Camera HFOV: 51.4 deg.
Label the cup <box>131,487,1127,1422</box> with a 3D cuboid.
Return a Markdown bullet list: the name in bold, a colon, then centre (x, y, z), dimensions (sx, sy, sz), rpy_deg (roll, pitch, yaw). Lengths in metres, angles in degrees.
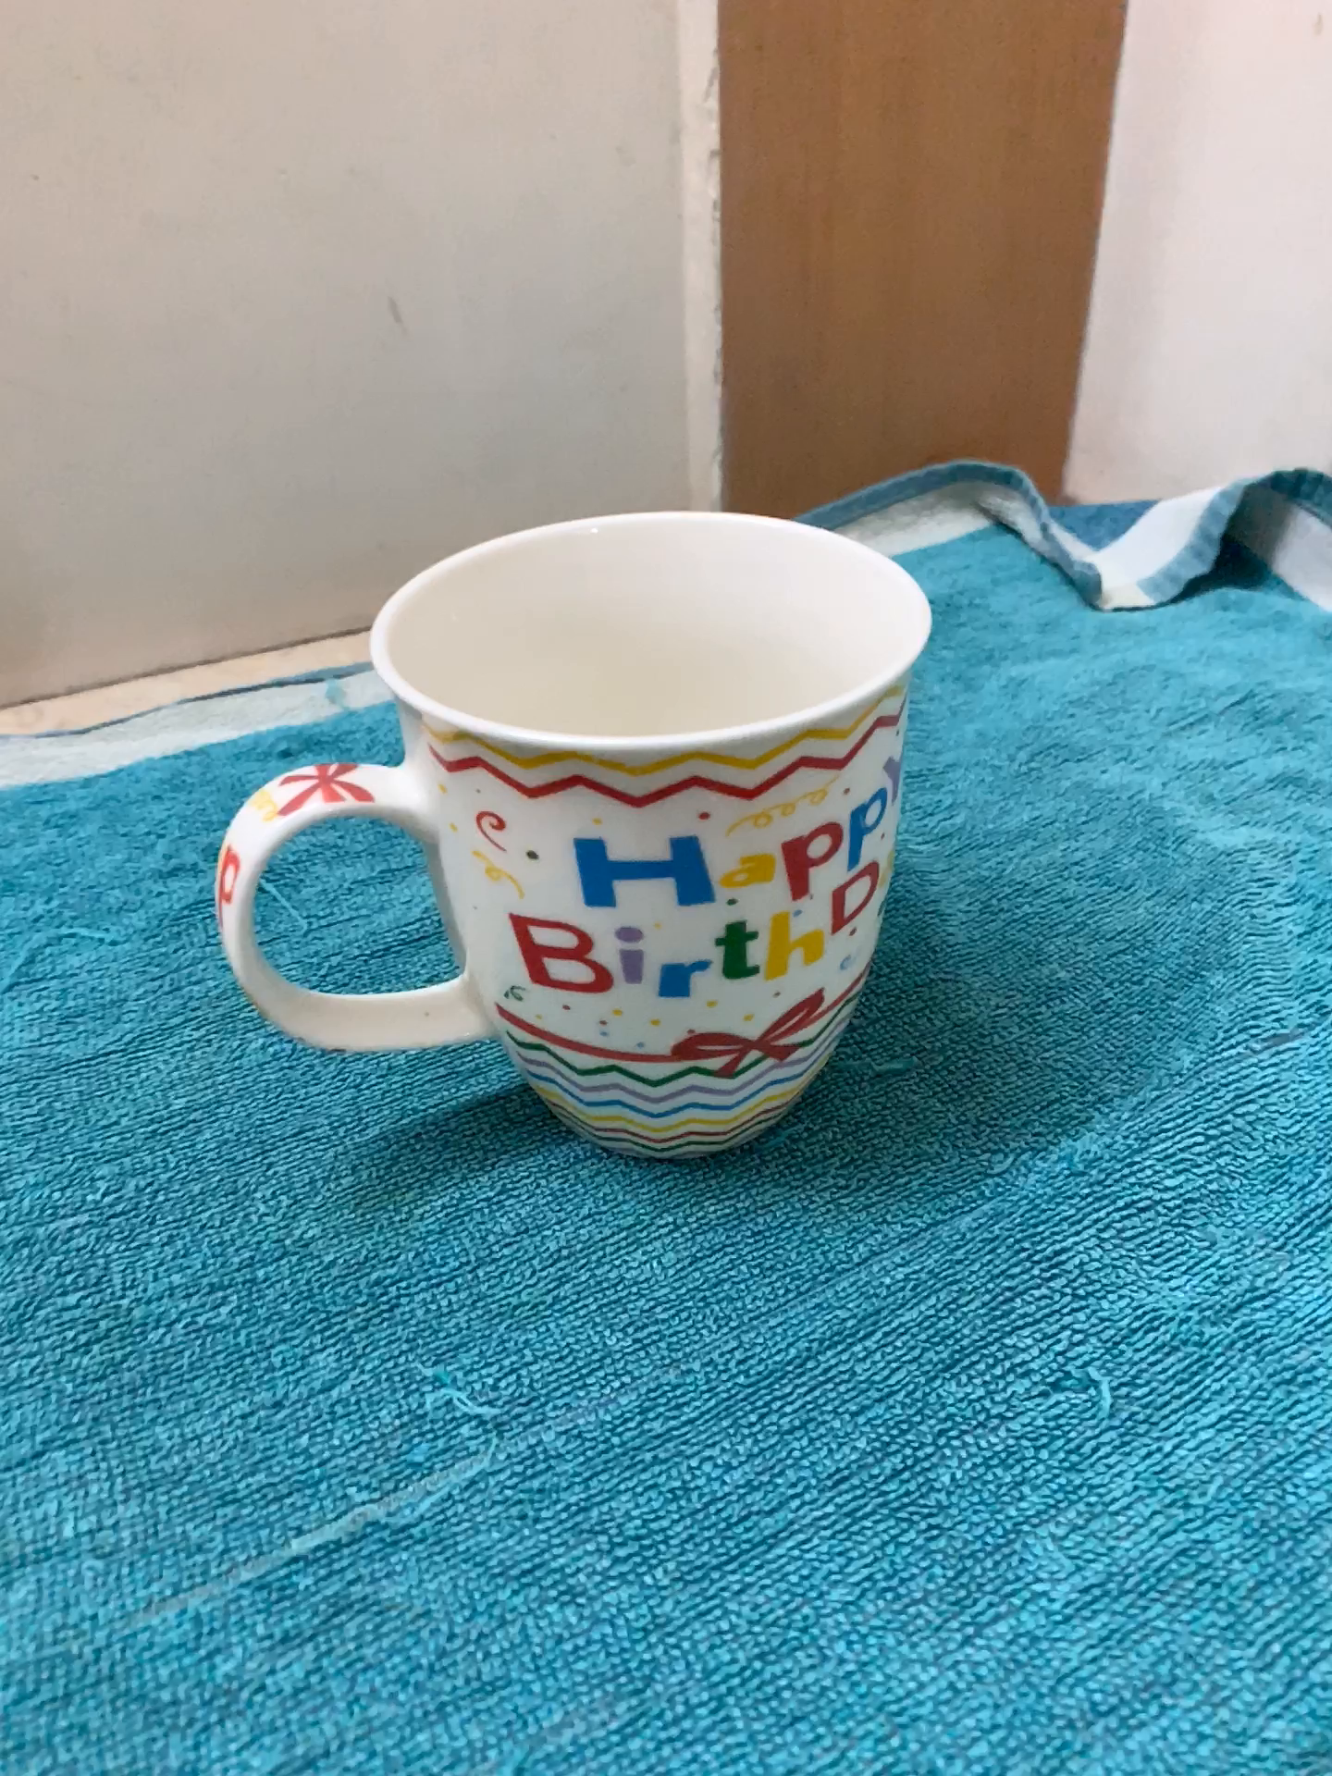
- **cup**: centre (-0.009, 0.002, 0.242), dimensions (0.130, 0.099, 0.091), rpy_deg (-15, 36, -18)
